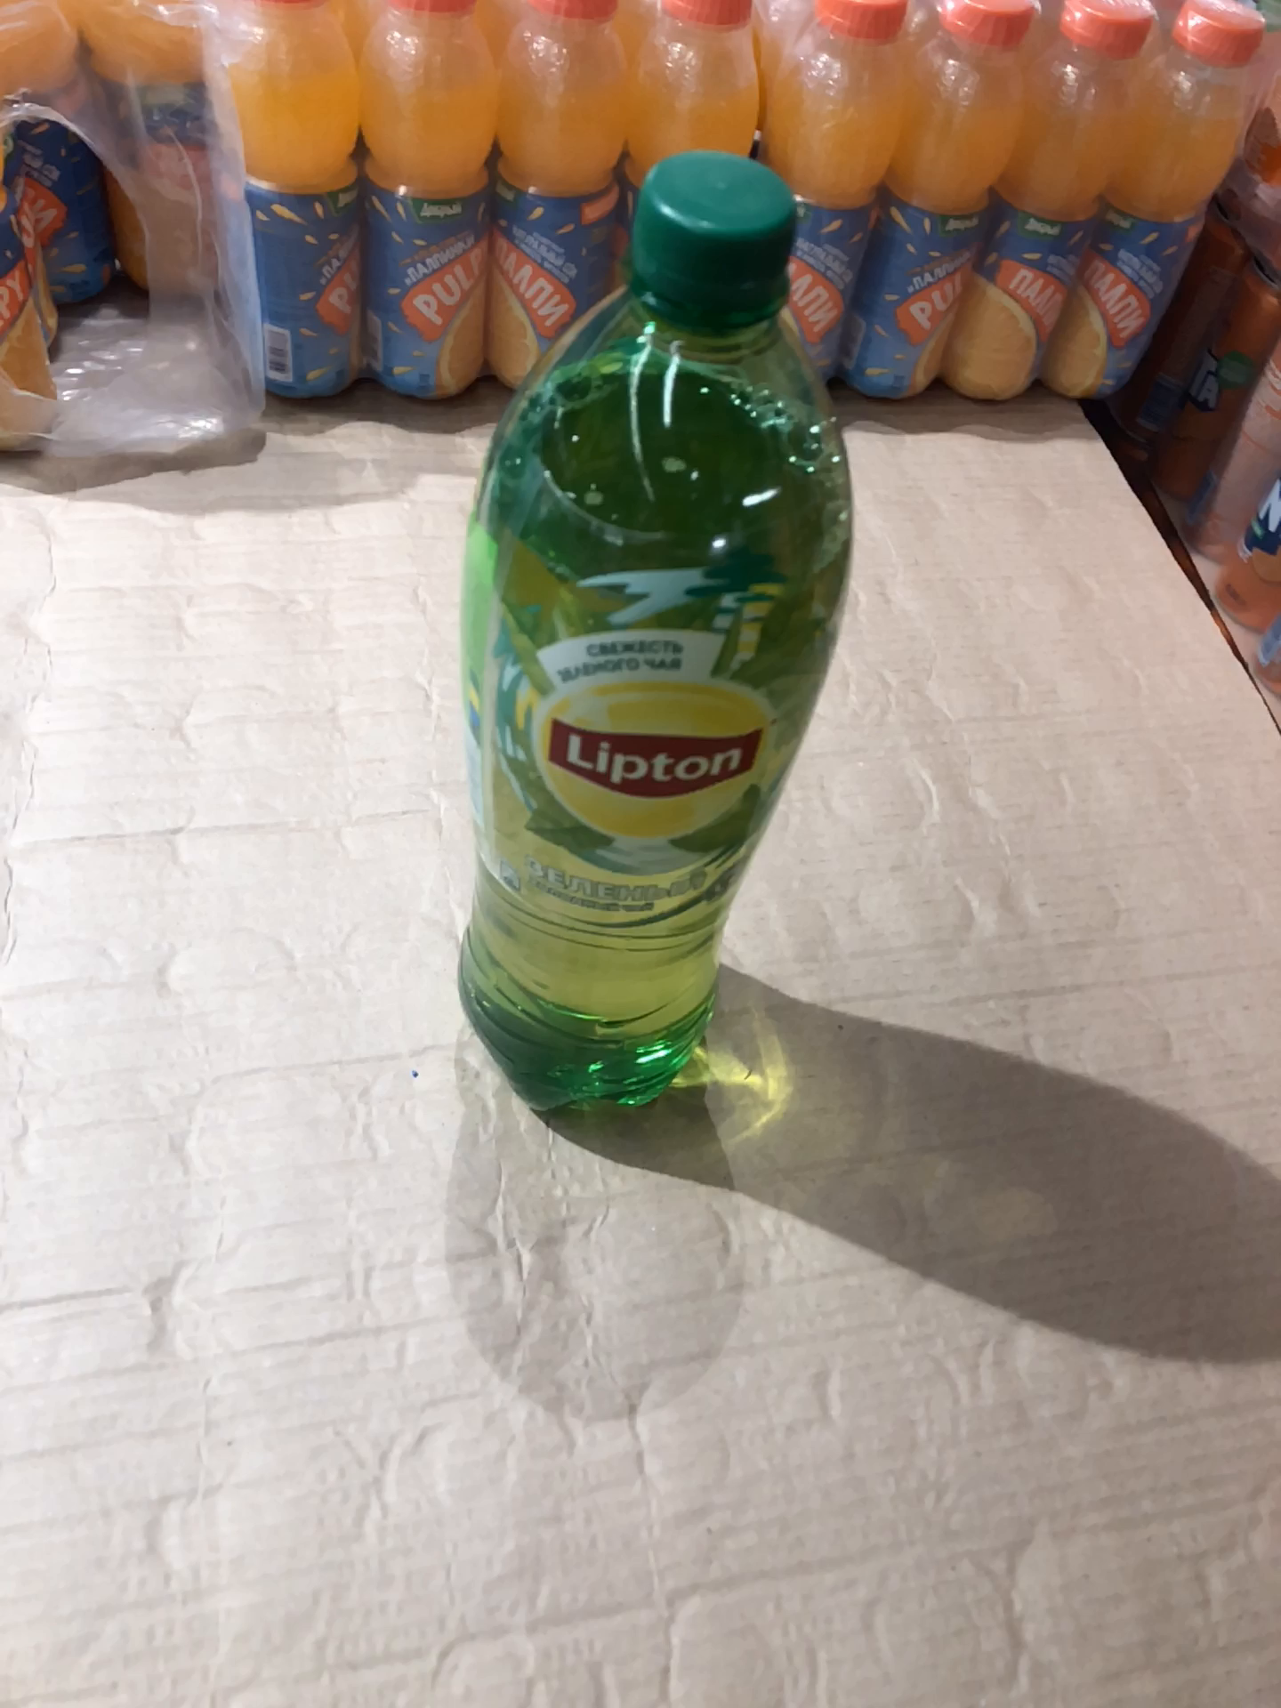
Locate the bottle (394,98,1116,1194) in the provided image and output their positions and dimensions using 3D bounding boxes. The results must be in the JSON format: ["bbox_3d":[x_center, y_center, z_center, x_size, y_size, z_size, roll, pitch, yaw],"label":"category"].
[{"bbox_3d":[-0.002,-0.026,0.382,0.120,0.288,0.121,4,54,-6],"label":"bottle"}]
